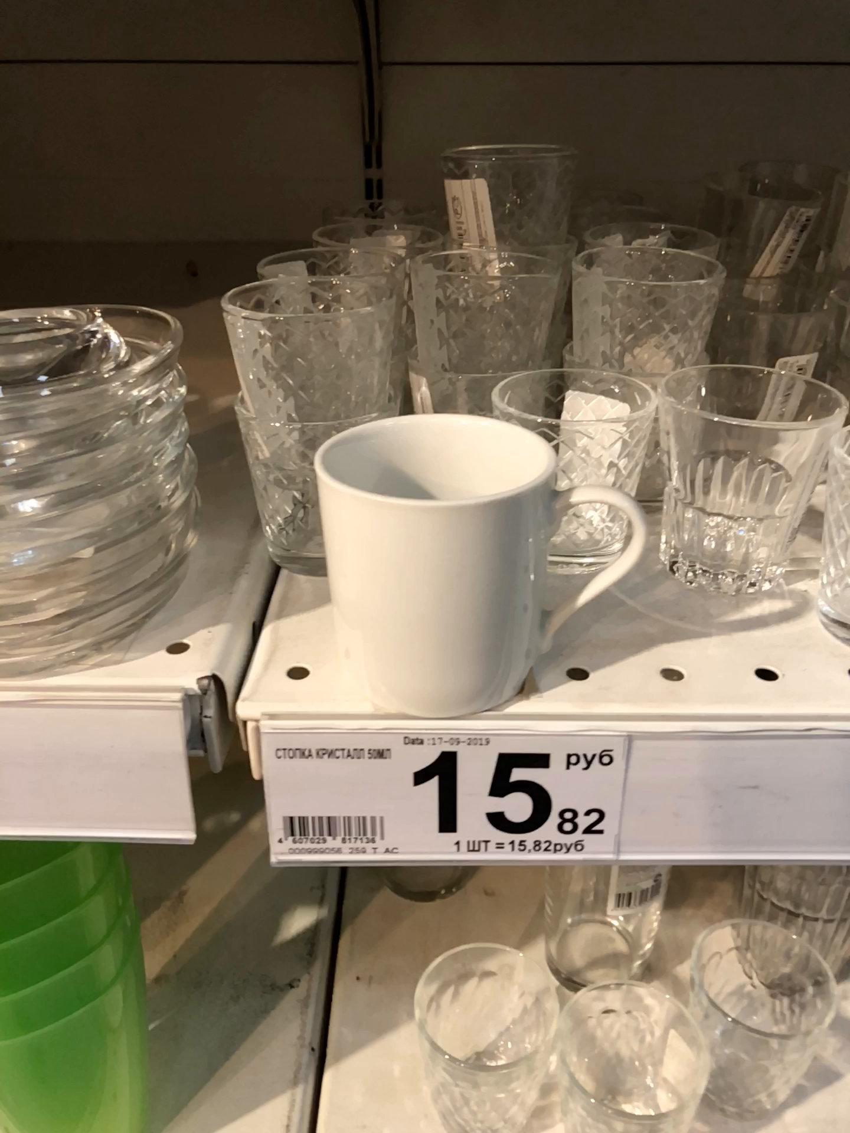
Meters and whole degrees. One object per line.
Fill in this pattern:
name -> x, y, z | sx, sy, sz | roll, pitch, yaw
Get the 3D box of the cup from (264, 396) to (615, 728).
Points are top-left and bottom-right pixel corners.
cup -> 0.005, -0.003, 0.238 | 0.074, 0.060, 0.057 | 3, 30, 5
